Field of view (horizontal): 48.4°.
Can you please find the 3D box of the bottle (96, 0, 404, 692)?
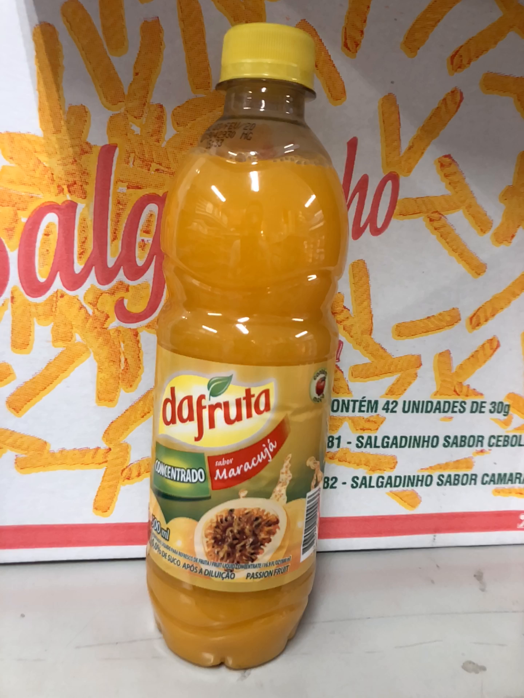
[{"bbox_3d":[-0.008,0.001,0.191,0.070,0.199,0.060,6,14,4],"label":"bottle"}]
